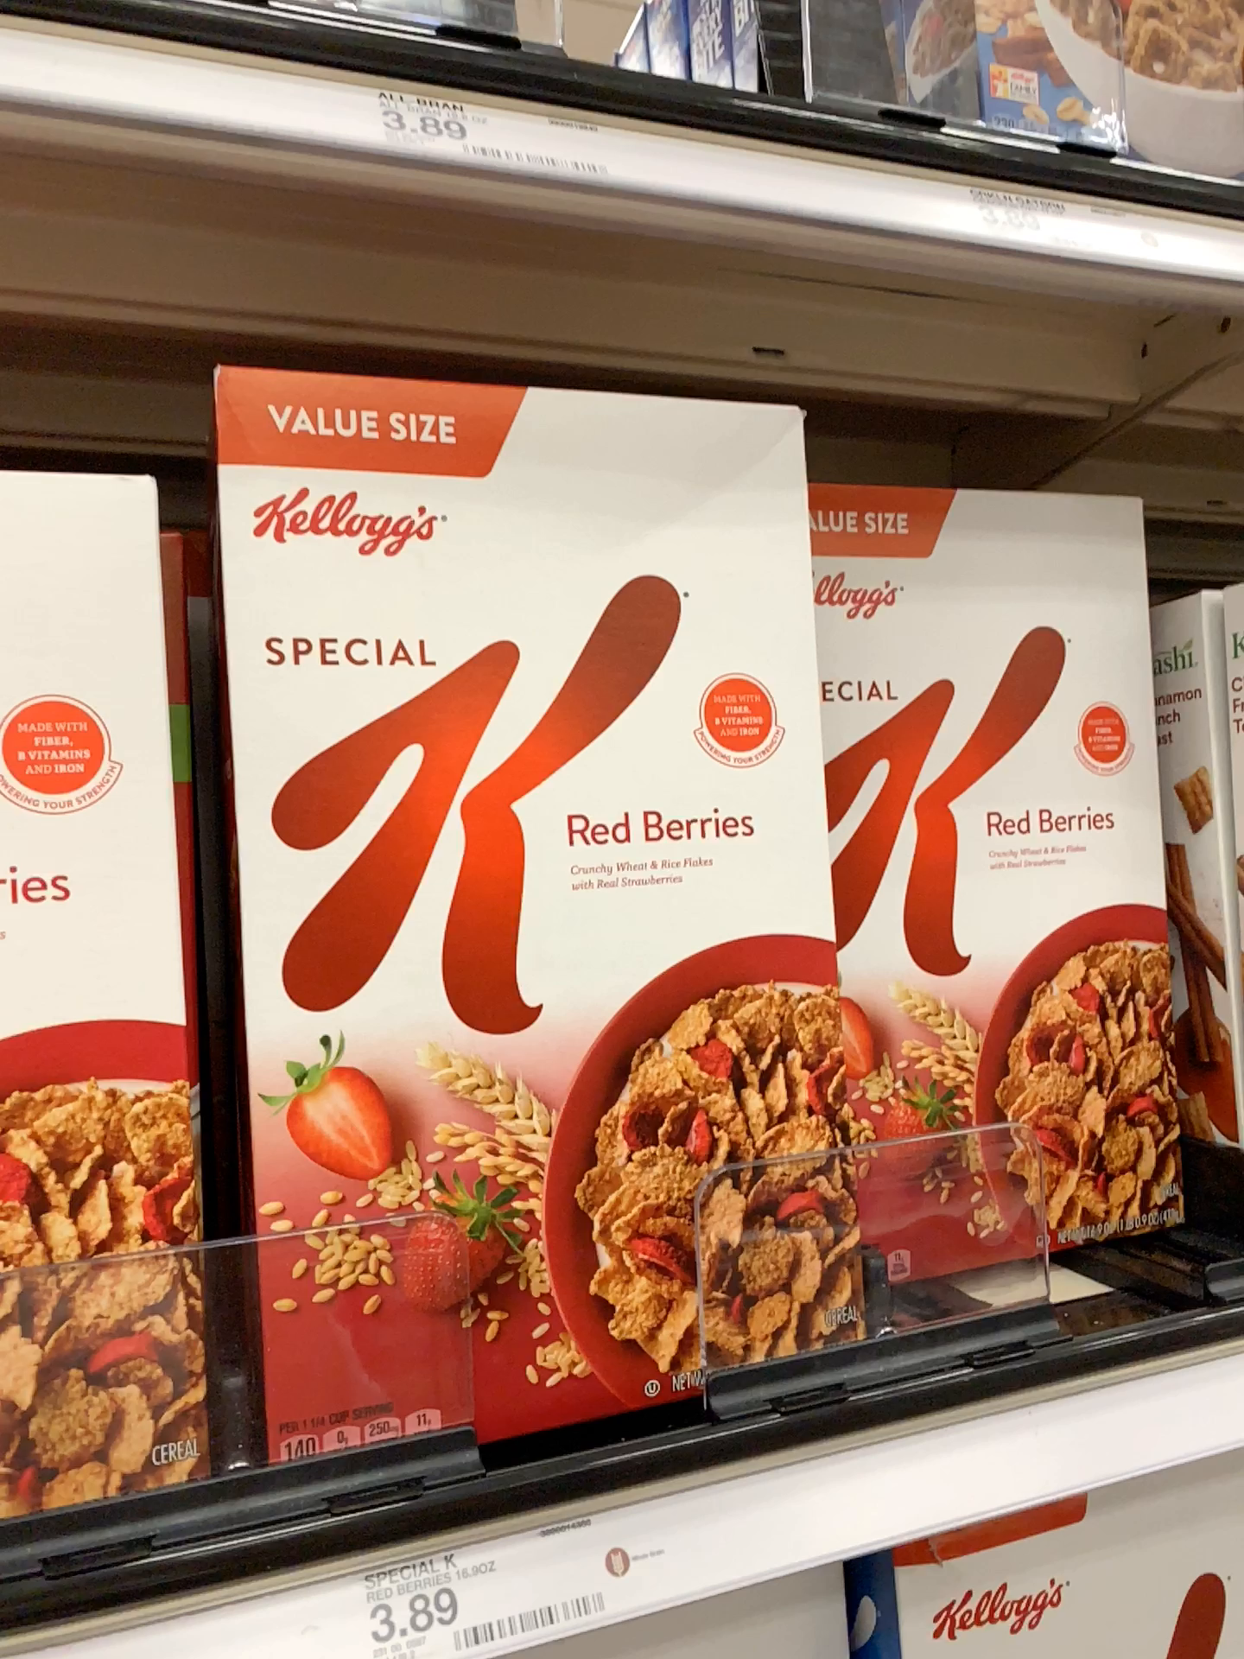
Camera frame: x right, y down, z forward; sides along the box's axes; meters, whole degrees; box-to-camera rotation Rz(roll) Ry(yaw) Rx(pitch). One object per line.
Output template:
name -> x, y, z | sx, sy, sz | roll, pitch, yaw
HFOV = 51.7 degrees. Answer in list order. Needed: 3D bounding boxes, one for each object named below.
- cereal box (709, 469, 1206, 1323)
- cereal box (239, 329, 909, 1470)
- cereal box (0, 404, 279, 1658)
cereal box -> 0.148, 0.022, 0.562 | 0.200, 0.330, 0.060 | -2, -1, -22
cereal box -> -0.014, 0.015, 0.425 | 0.200, 0.320, 0.060 | -2, -1, -21
cereal box -> -0.208, 0.044, 0.360 | 0.200, 0.290, 0.060 | -2, -1, -22
